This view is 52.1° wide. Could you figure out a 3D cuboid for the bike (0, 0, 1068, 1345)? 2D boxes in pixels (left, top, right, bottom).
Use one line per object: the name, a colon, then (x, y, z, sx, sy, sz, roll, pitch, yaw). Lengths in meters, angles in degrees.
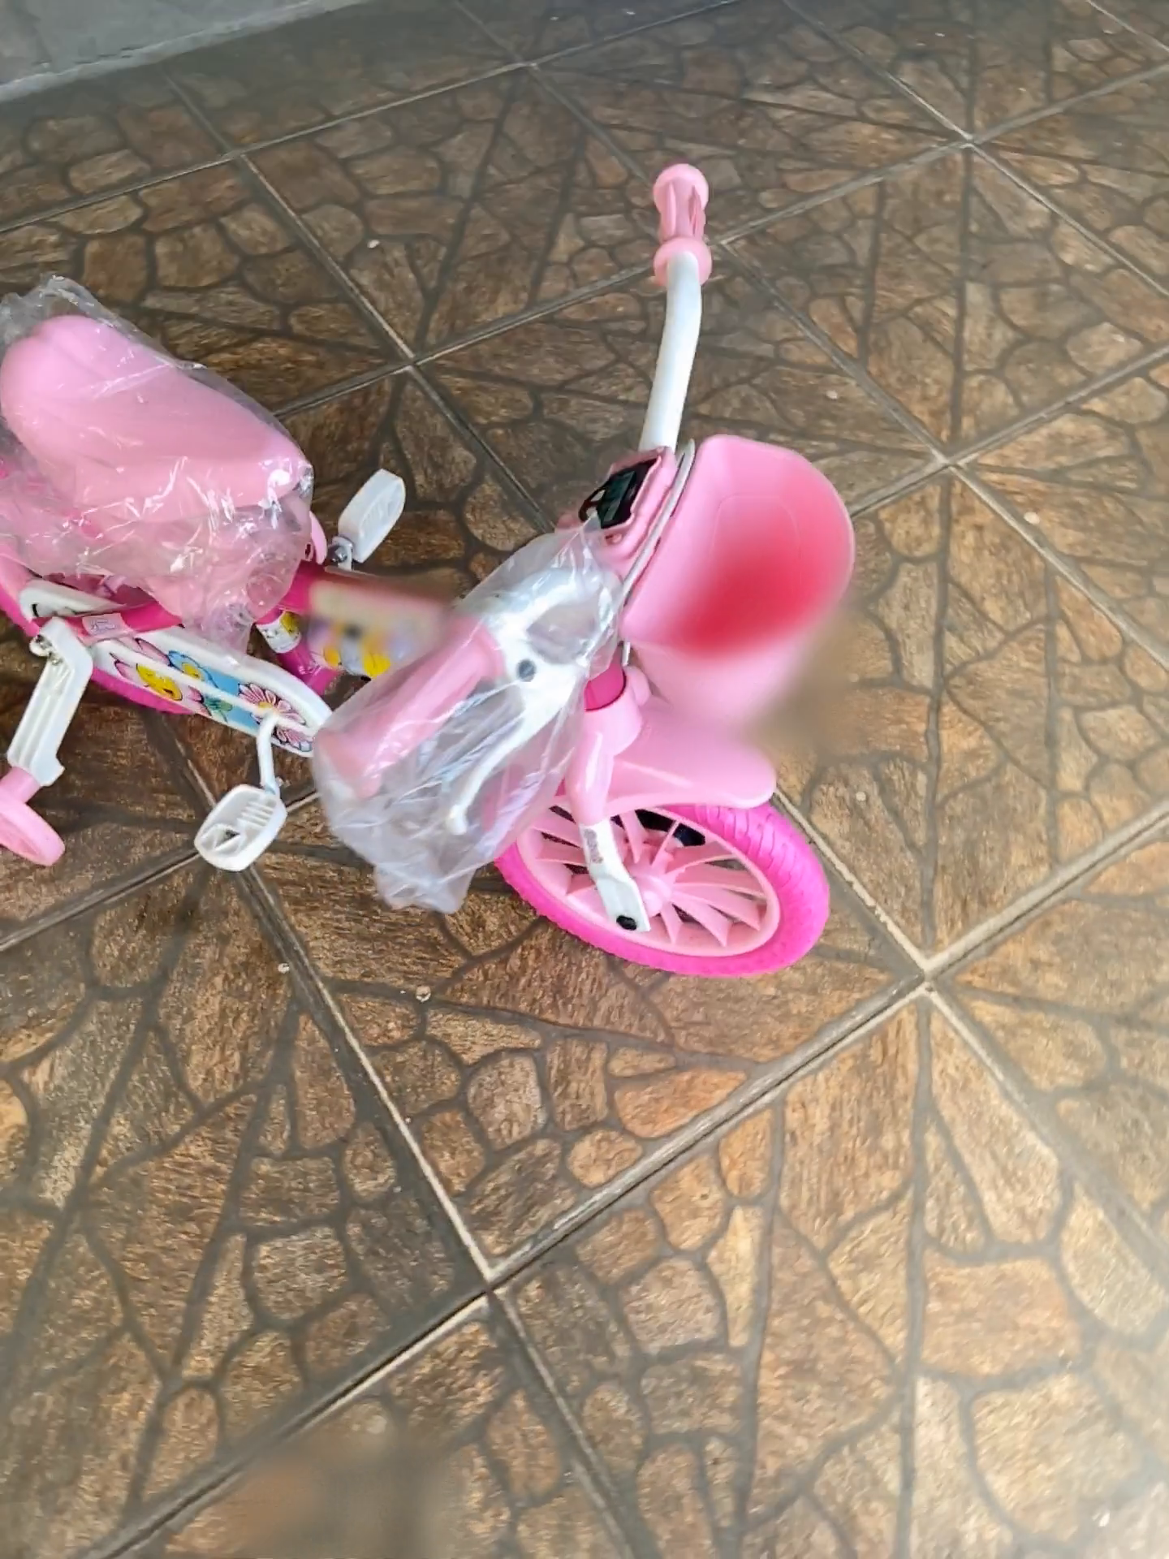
bike: (-0.191, -0.091, 0.867, 0.792, 0.563, 0.512, 25, 60, 12)
